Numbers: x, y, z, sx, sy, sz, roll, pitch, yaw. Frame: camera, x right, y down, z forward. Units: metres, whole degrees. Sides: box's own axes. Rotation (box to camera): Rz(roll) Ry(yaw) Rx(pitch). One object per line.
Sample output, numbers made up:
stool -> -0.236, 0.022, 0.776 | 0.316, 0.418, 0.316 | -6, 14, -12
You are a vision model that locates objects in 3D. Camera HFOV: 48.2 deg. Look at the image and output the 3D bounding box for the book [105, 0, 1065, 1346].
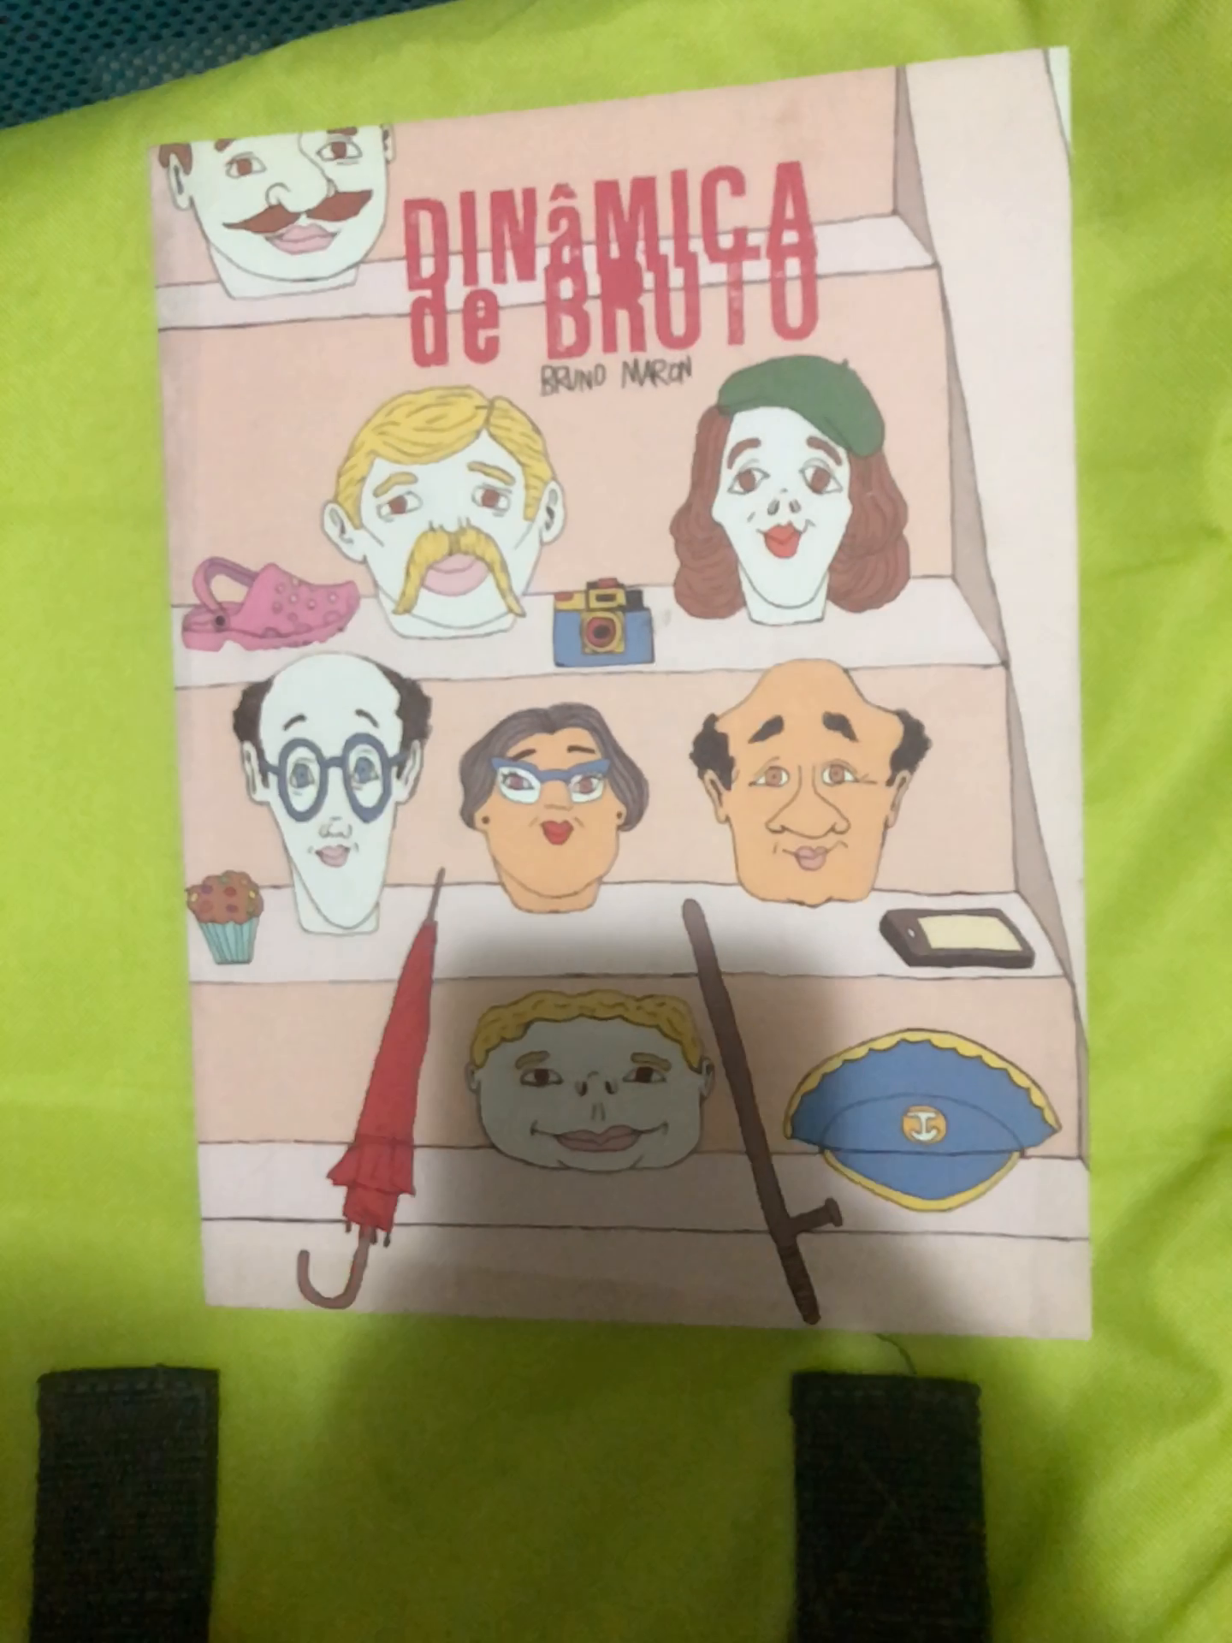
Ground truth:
book -> -0.008, -0.023, 0.271 | 0.178, 0.020, 0.239 | -2, 92, 11
